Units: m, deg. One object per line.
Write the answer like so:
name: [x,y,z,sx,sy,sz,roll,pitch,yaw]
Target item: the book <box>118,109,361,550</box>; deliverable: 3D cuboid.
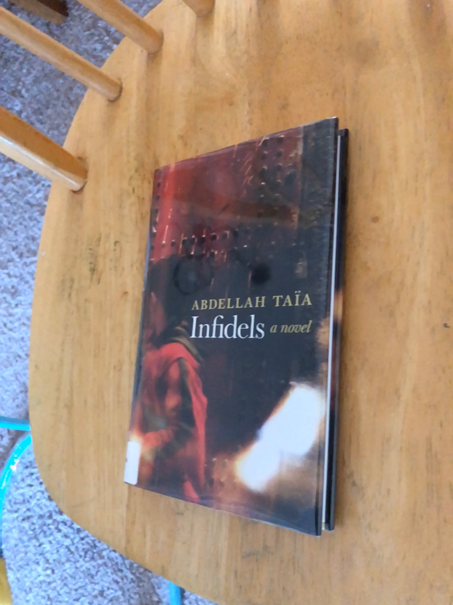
book: [0.003,0.010,0.298,0.143,0.020,0.216,-2,78,40]
